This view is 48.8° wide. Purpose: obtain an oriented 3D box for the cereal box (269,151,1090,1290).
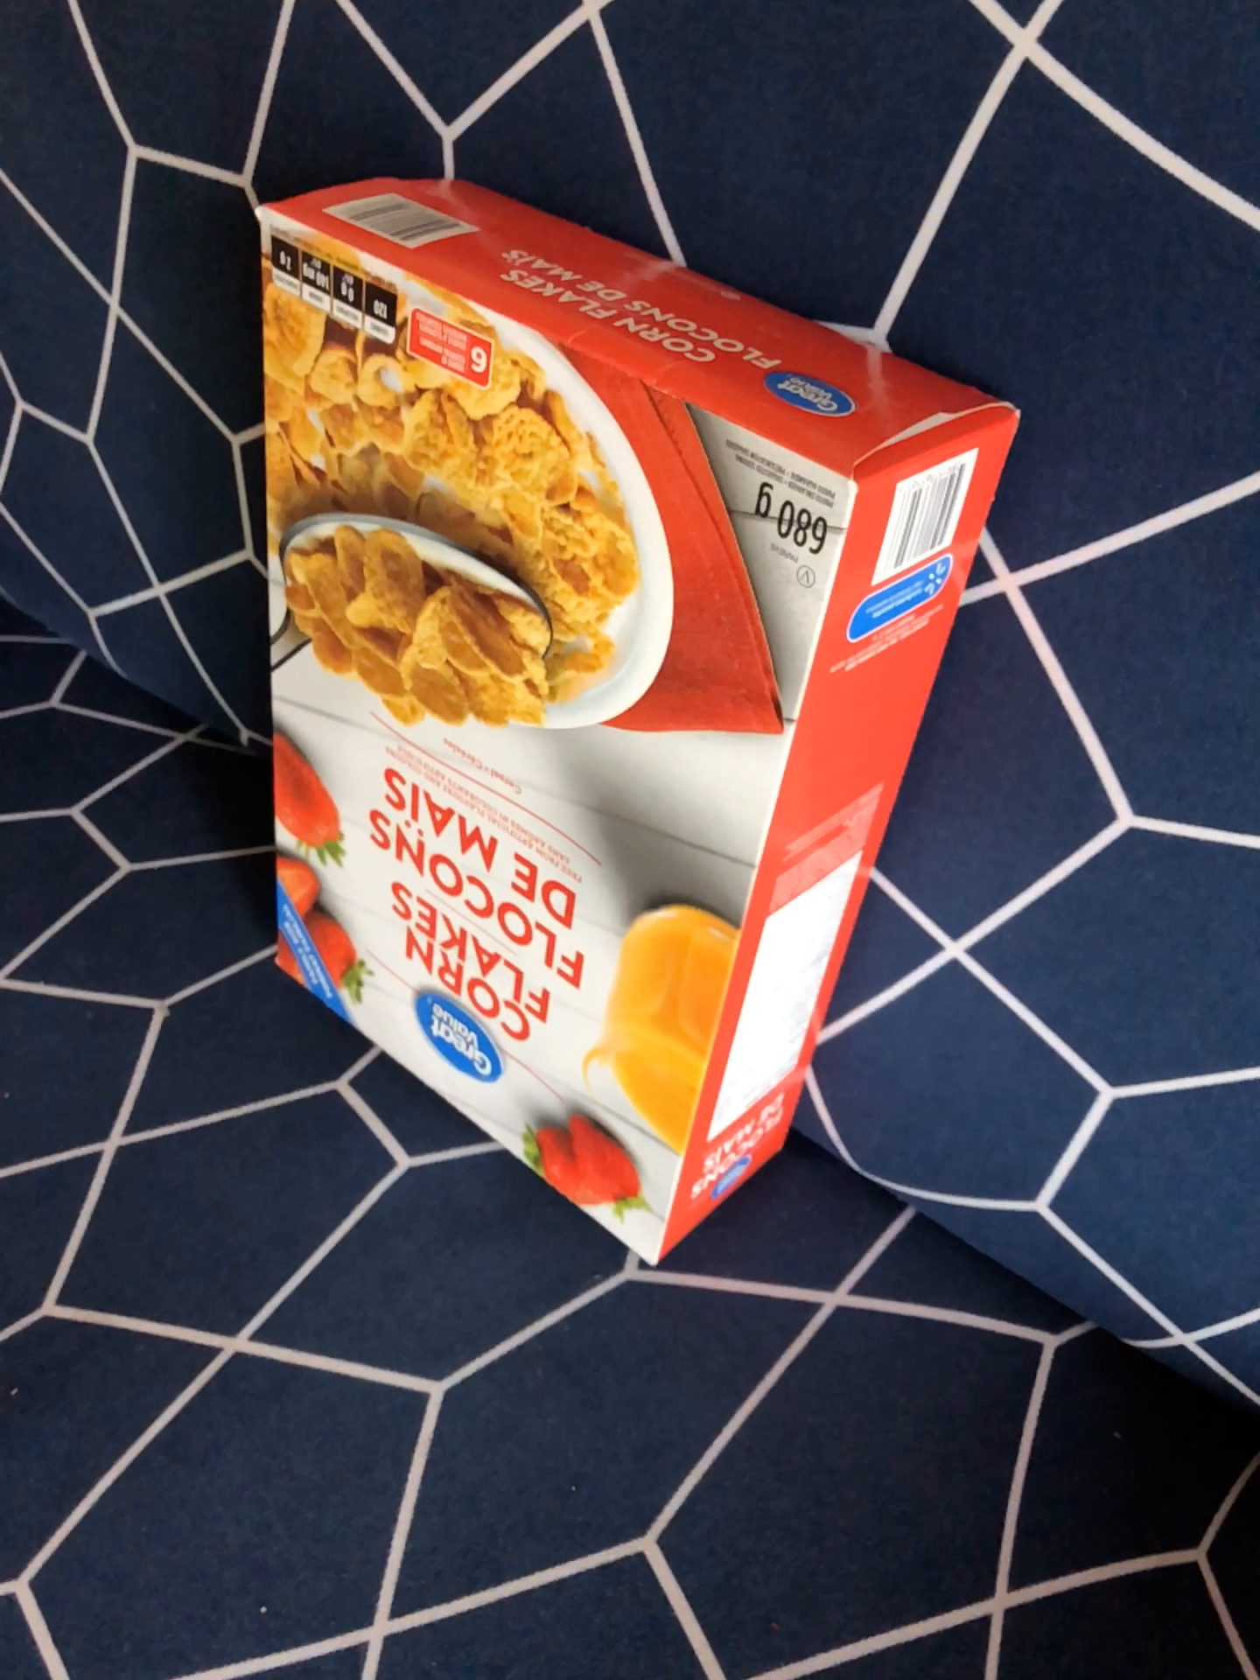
[{"bbox_3d":[-0.015,-0.037,0.486,0.221,0.318,0.100,33,42,27],"label":"cereal box"}]
